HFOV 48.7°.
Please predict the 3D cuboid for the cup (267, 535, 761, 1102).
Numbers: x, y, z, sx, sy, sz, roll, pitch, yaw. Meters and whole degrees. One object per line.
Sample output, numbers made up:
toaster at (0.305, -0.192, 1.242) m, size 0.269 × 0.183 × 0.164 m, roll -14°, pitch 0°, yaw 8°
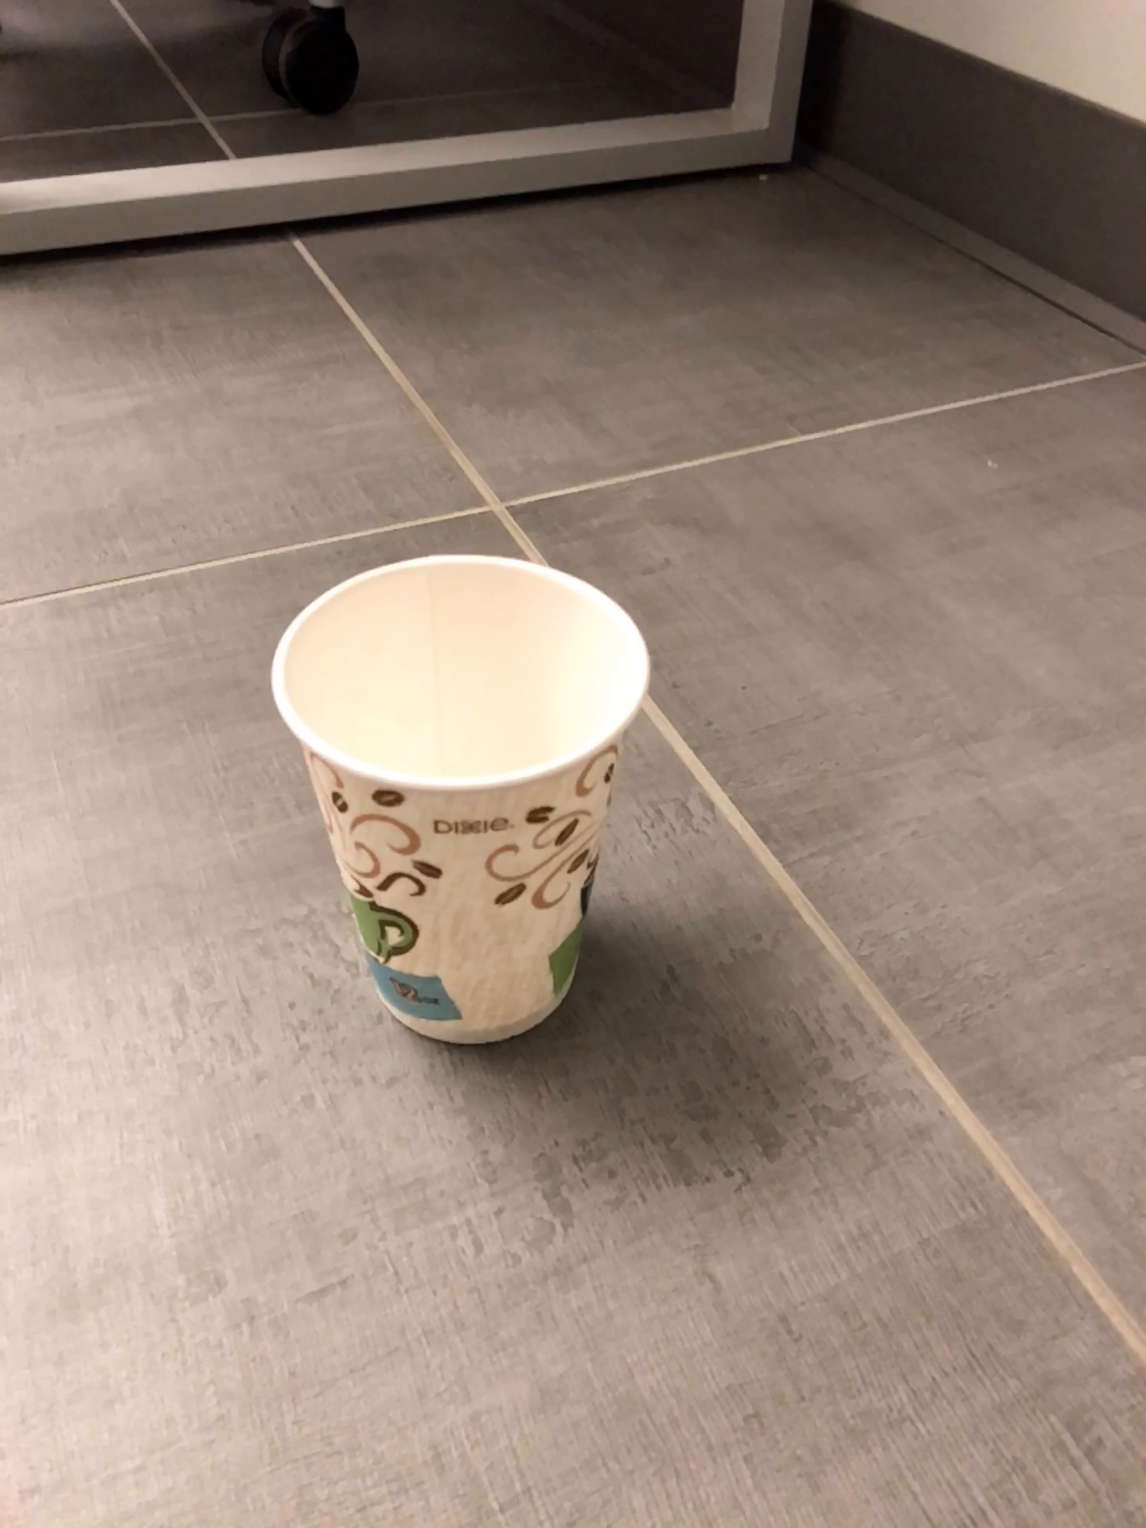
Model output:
cup at (-0.020, 0.012, 0.329) m, size 0.100 × 0.099 × 0.090 m, roll -7°, pitch 43°, yaw -11°
